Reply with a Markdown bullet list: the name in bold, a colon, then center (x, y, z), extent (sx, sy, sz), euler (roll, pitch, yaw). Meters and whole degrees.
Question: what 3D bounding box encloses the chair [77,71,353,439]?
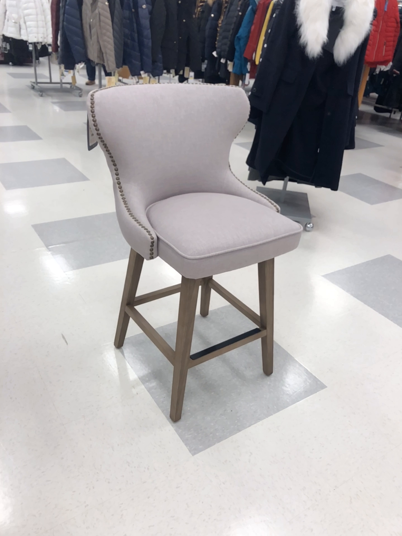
- **chair**: center (-0.003, -0.077, 1.472), extent (0.610, 0.999, 0.478), euler (-16, 35, -33)
